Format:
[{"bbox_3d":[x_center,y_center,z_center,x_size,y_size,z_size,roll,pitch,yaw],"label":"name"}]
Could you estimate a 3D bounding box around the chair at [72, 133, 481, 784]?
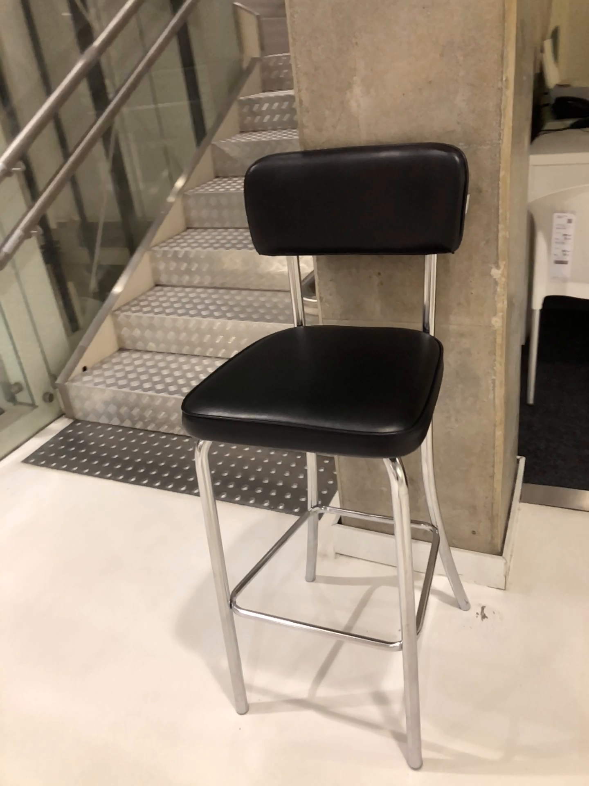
[{"bbox_3d":[0.061,0.112,1.149,0.451,0.983,0.443,5,30,24],"label":"chair"}]
